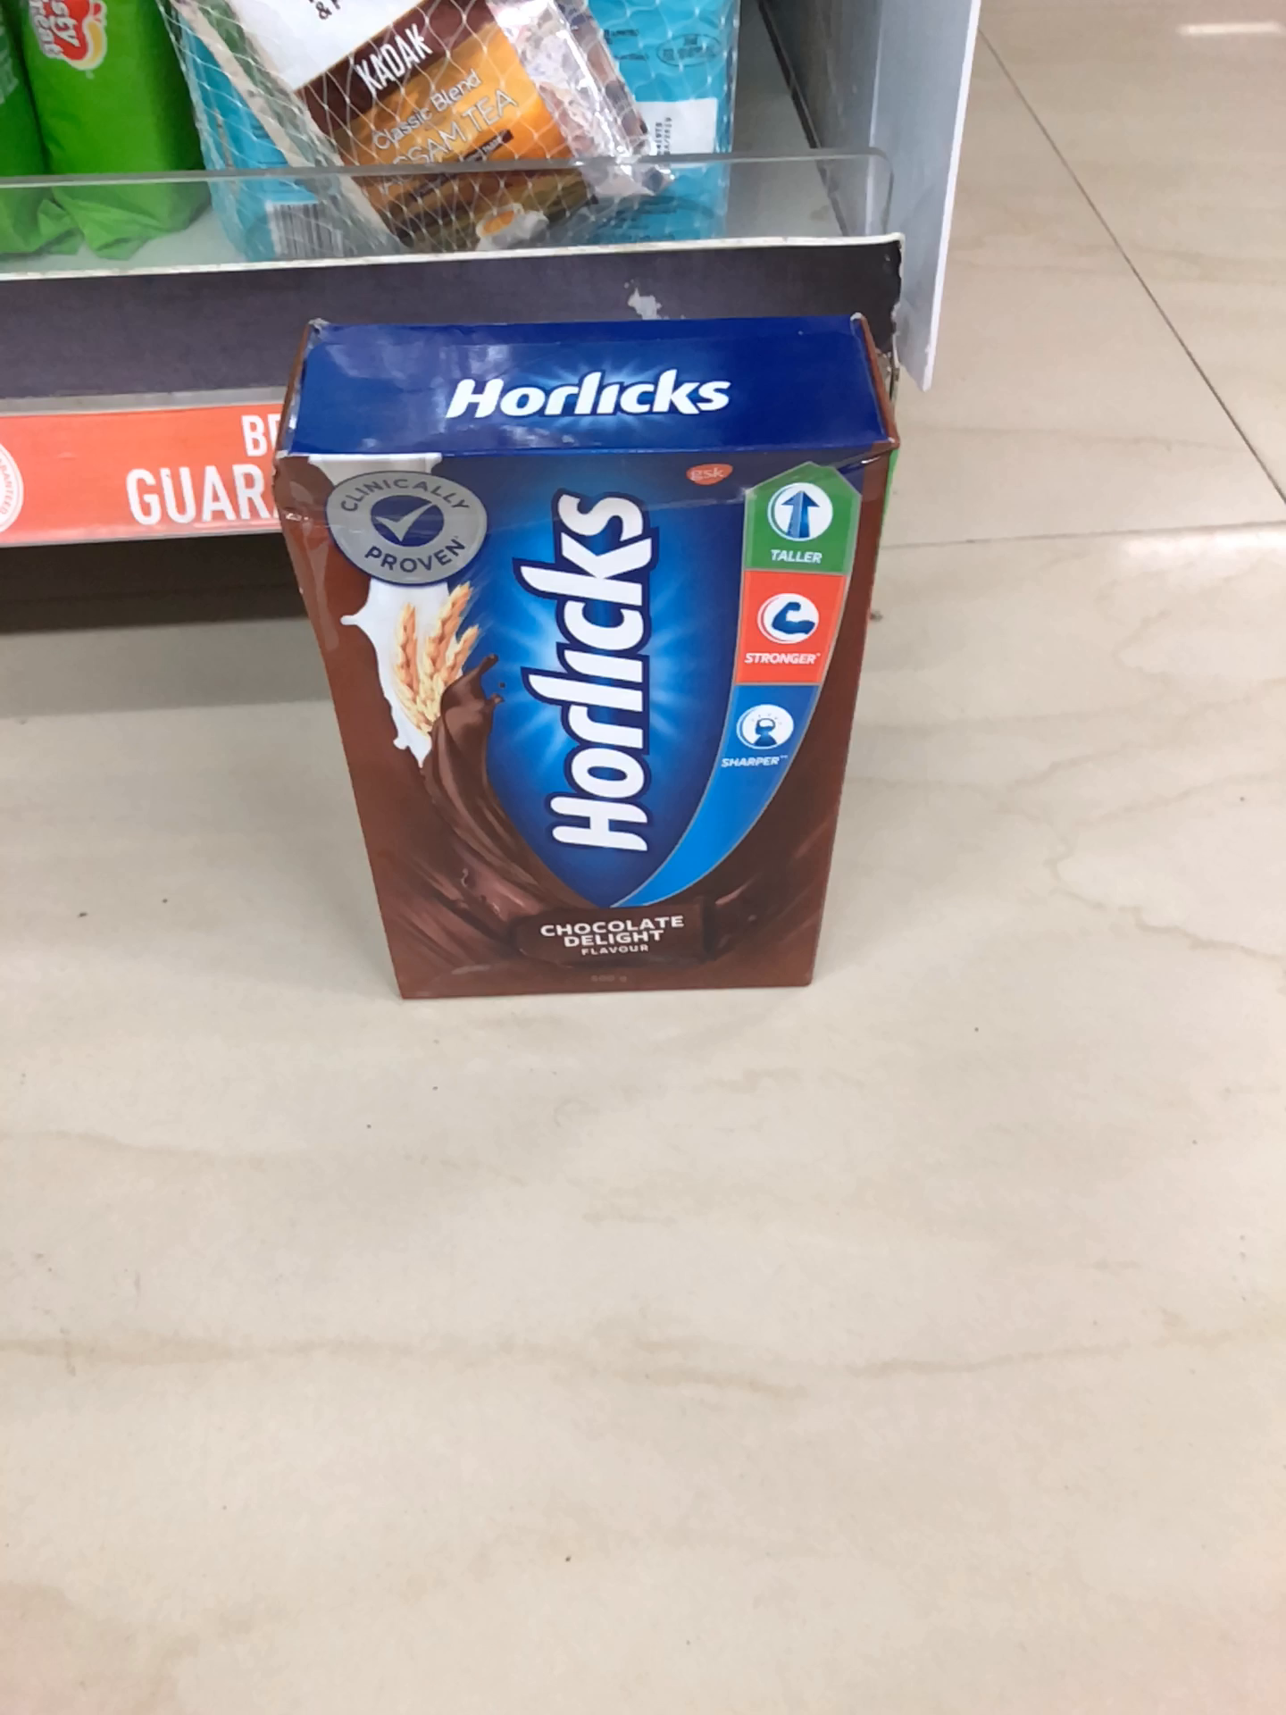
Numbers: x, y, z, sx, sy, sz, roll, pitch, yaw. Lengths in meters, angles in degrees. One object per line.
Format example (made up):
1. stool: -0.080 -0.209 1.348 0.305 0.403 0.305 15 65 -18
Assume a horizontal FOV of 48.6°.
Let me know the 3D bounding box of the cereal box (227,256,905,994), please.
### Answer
1. cereal box: -0.017 -0.049 0.393 0.140 0.209 0.060 -2 50 -2
